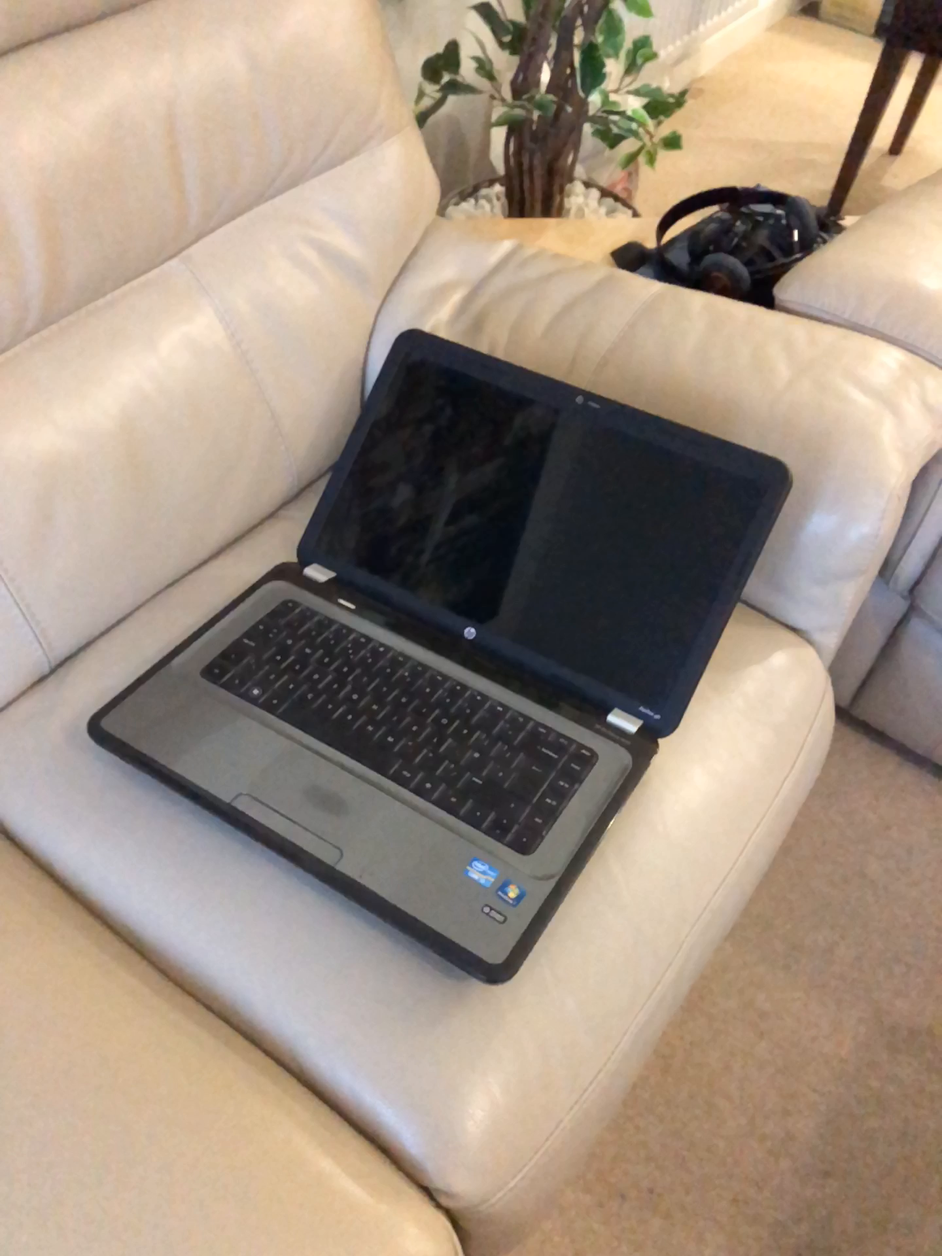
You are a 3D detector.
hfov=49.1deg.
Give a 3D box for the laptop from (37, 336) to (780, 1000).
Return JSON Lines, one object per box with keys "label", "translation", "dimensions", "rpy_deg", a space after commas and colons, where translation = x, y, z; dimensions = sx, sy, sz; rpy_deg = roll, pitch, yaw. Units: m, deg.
{"label": "laptop", "translation": [-0.024, -0.013, 0.782], "dimensions": [0.358, 0.114, 0.426], "rpy_deg": [27, 53, 18]}
